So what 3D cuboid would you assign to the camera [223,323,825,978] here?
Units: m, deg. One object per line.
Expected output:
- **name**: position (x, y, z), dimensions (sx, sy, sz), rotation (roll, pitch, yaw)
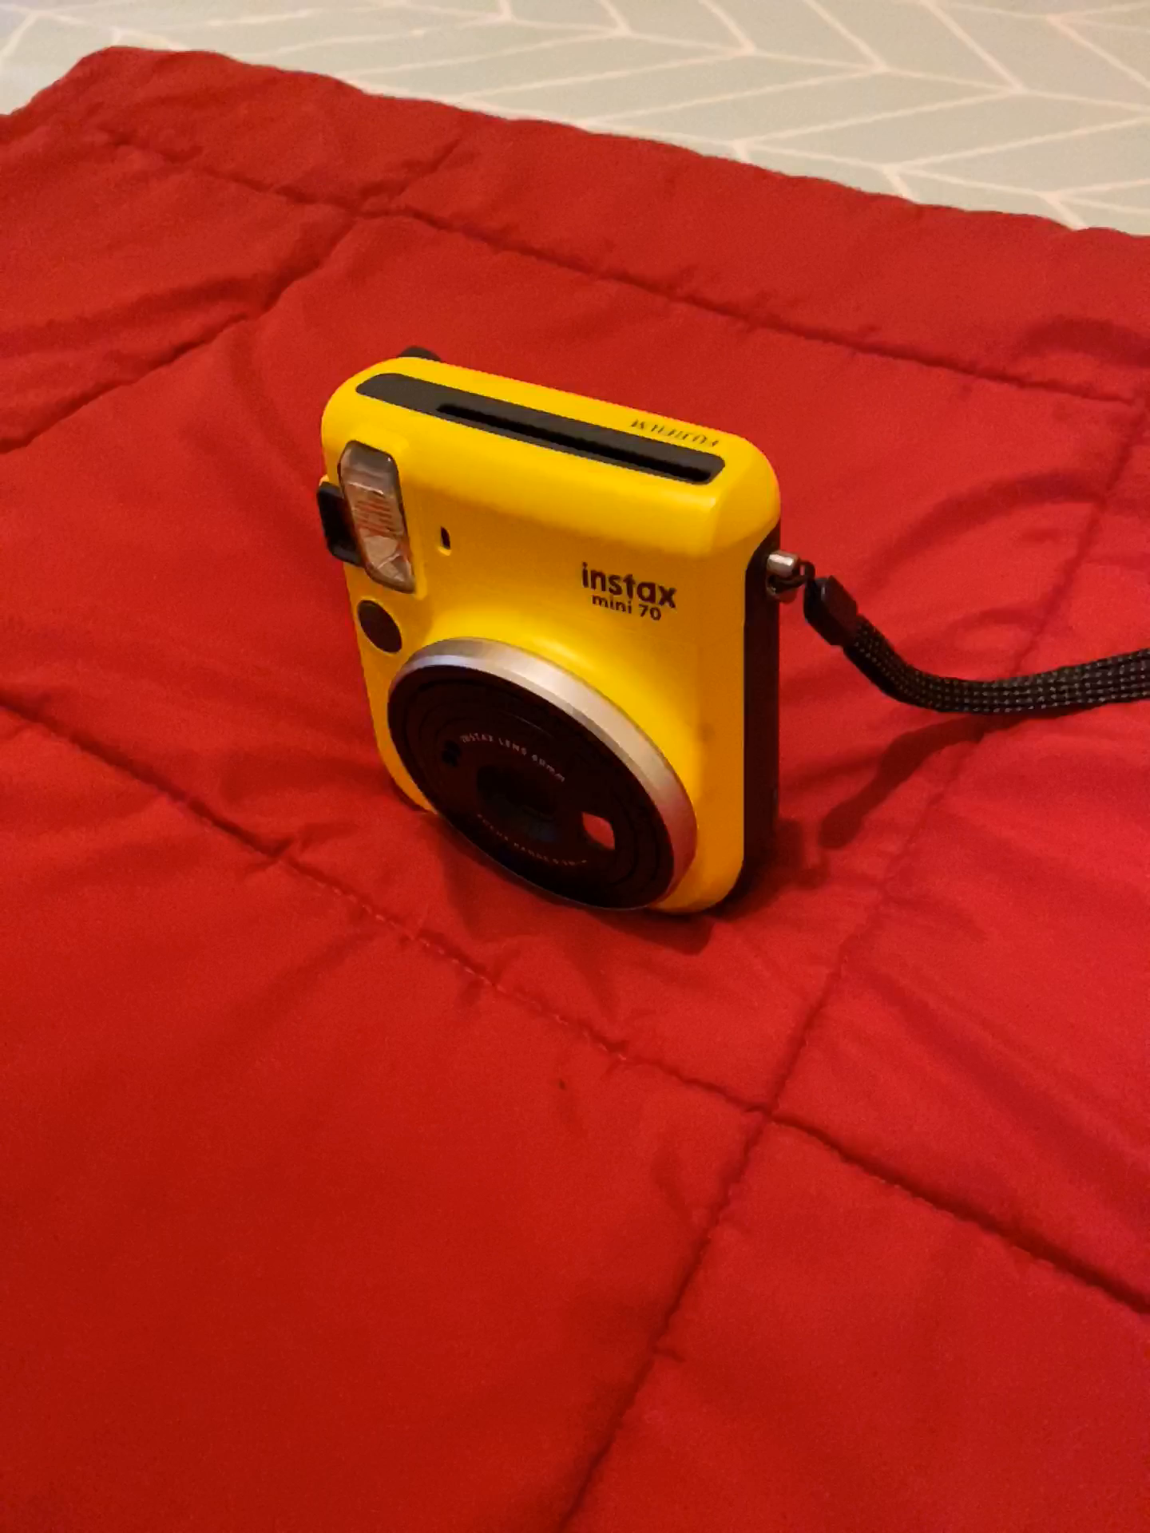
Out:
- **camera**: position (-0.006, -0.024, 0.254), dimensions (0.095, 0.103, 0.057), rotation (22, 53, 24)
